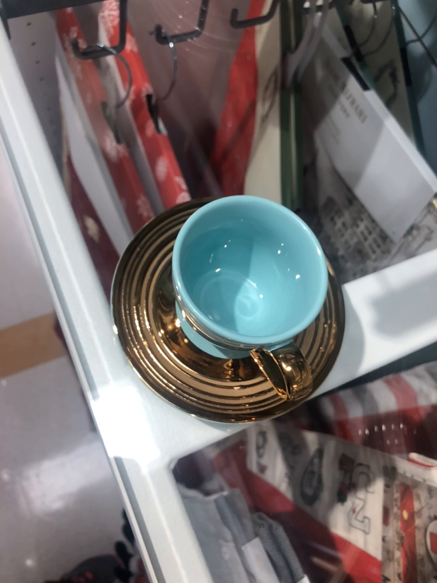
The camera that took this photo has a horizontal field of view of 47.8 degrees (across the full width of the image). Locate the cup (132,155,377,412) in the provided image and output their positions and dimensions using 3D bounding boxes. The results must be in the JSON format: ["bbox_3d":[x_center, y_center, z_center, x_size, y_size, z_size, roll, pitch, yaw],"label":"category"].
[{"bbox_3d":[0.011,-0.003,0.221,0.070,0.050,0.084,-23,76,-17],"label":"cup"}]
